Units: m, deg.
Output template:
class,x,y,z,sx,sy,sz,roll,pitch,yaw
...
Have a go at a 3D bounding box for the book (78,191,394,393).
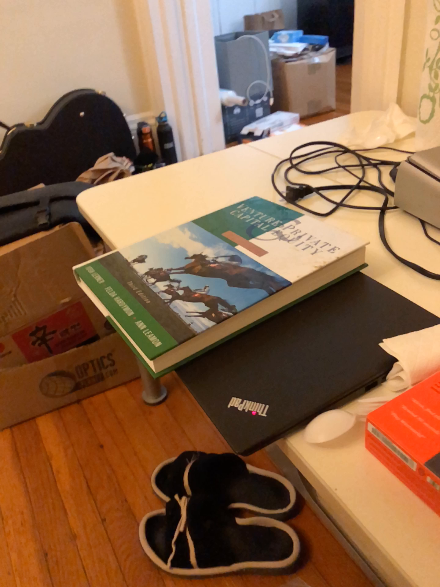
class,x,y,z,sx,sy,sz,roll,pitch,yaw
book,0.010,-0.028,0.540,0.271,0.030,0.221,-25,38,-23
